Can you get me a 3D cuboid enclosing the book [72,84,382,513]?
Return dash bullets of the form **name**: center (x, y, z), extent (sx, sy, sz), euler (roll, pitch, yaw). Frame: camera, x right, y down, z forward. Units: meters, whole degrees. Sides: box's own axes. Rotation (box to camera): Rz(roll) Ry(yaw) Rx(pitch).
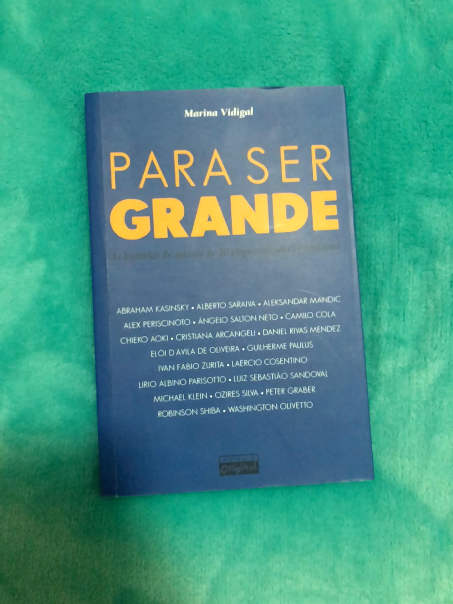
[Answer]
- **book**: center (0.000, -0.003, 0.257), extent (0.140, 0.030, 0.200), euler (-2, 89, -1)
